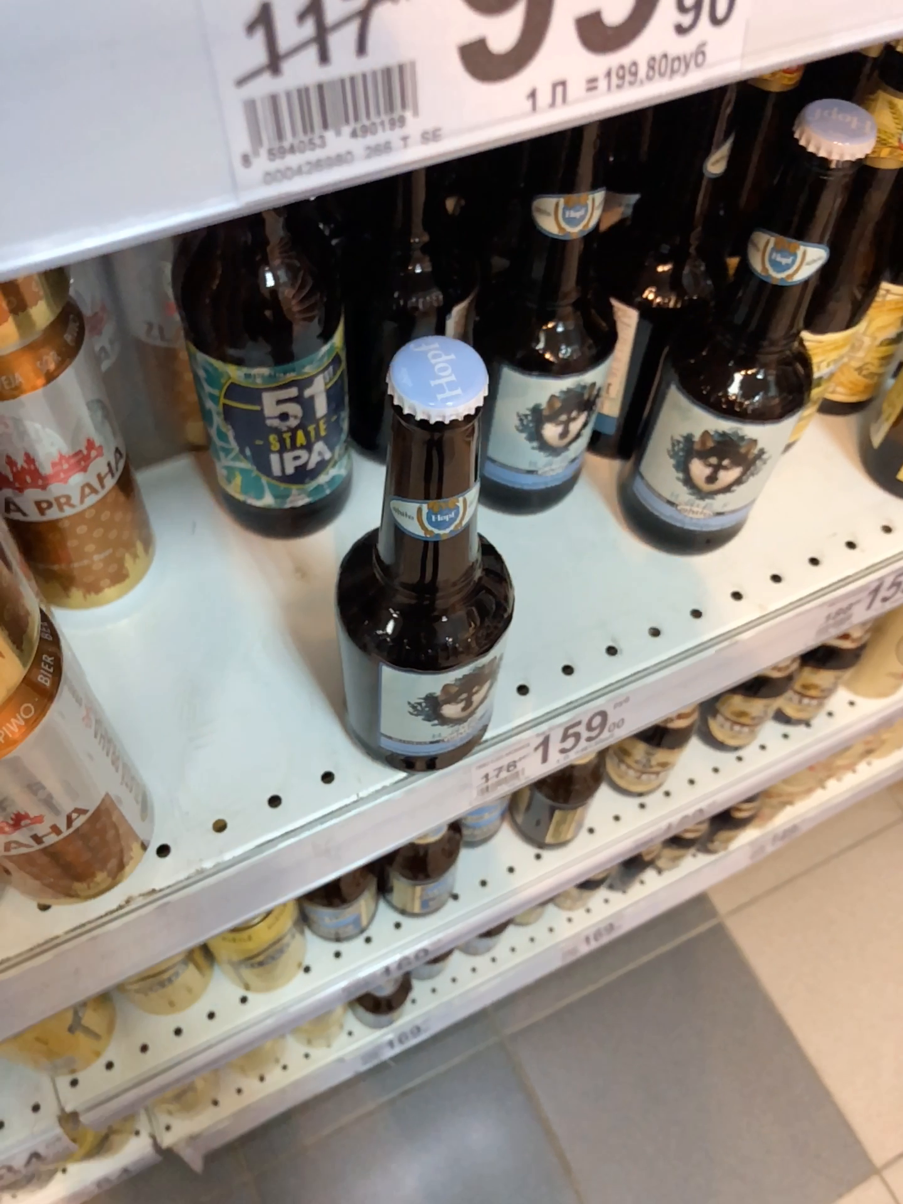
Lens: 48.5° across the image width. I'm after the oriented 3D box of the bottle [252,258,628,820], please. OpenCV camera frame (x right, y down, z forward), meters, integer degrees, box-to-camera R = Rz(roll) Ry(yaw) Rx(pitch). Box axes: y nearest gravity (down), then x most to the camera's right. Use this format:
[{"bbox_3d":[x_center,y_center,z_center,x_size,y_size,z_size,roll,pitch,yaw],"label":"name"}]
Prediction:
[{"bbox_3d":[-0.011,-0.005,0.372,0.080,0.219,0.070,-27,64,-19],"label":"bottle"}]
